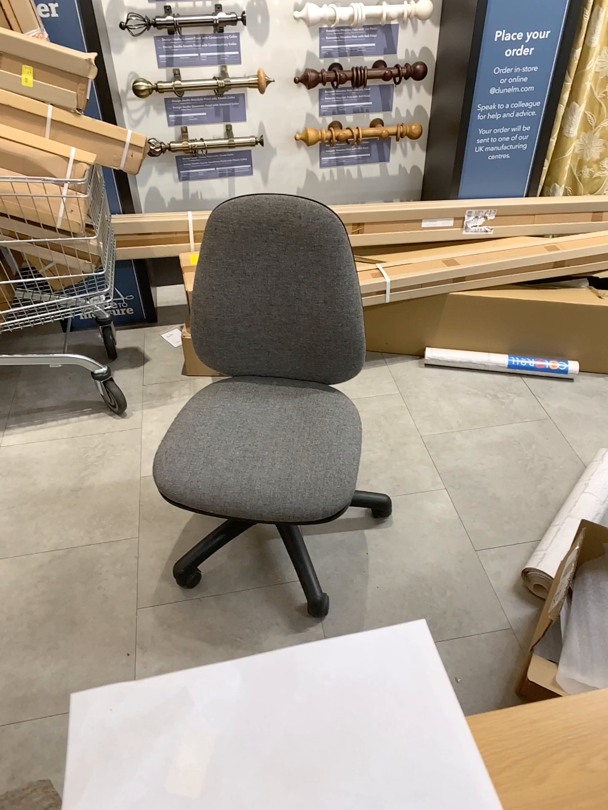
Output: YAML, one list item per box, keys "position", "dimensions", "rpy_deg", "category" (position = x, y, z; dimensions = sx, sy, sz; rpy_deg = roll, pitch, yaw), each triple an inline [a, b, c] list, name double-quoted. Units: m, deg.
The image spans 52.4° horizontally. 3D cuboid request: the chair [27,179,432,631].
- position: [-0.072, -0.010, 1.409]
  dimensions: [0.627, 0.750, 0.629]
  rpy_deg: [5, 41, 7]
  category: "chair"
